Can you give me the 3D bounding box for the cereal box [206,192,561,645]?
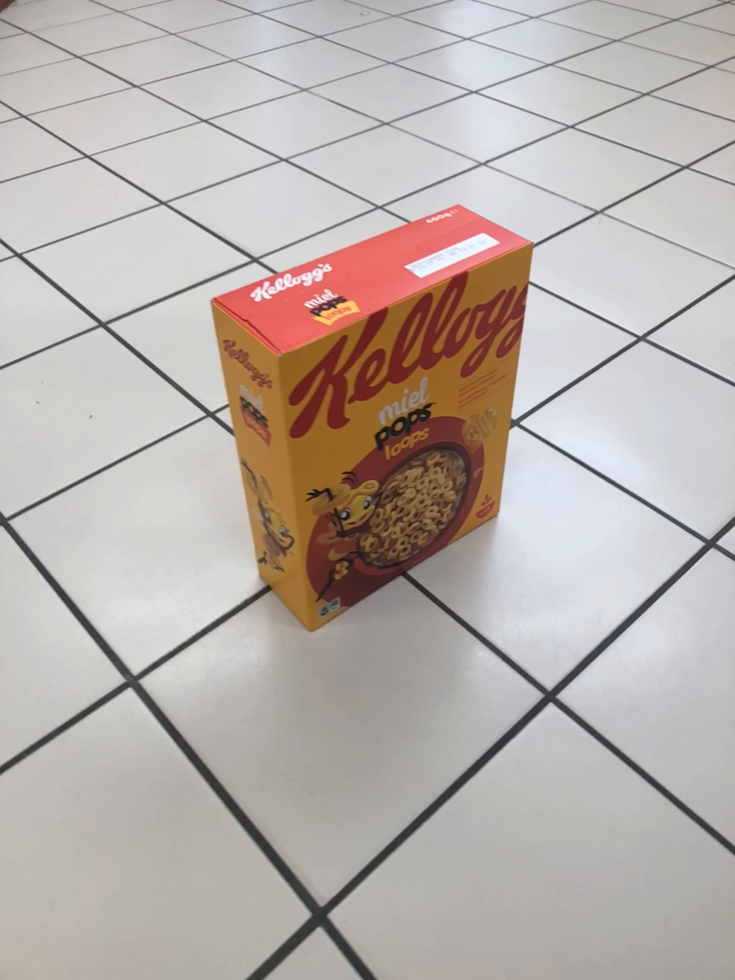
[{"bbox_3d":[0.013,-0.044,0.547,0.191,0.239,0.090,-30,52,-27],"label":"cereal box"}]
